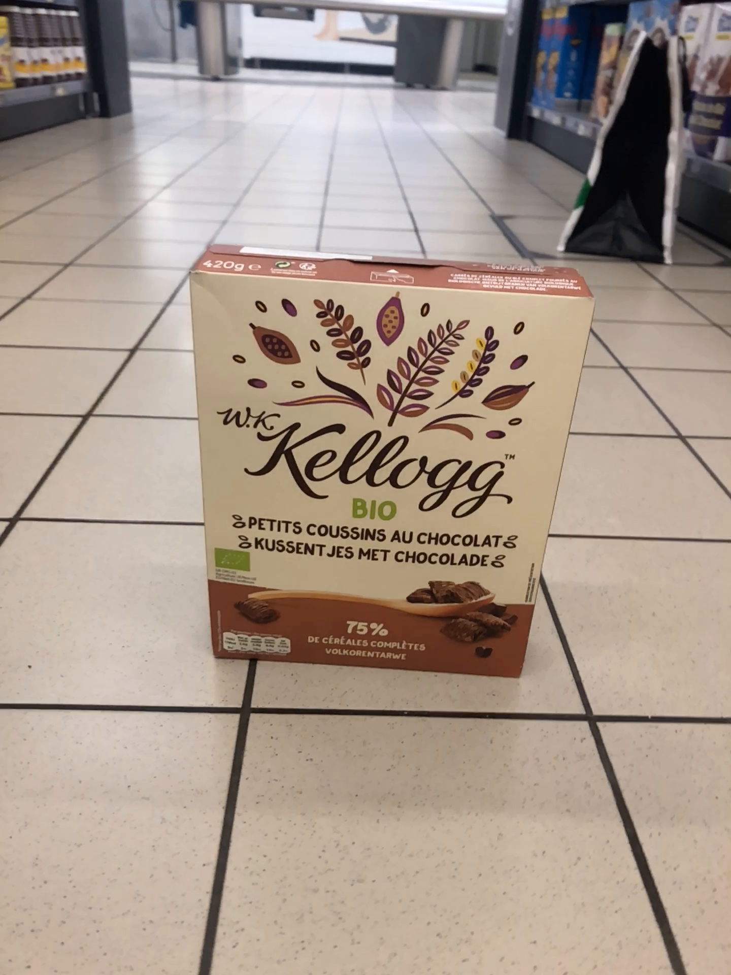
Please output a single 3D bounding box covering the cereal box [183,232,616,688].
[{"bbox_3d":[0.011,-0.005,0.455,0.200,0.248,0.050,4,30,2],"label":"cereal box"}]
